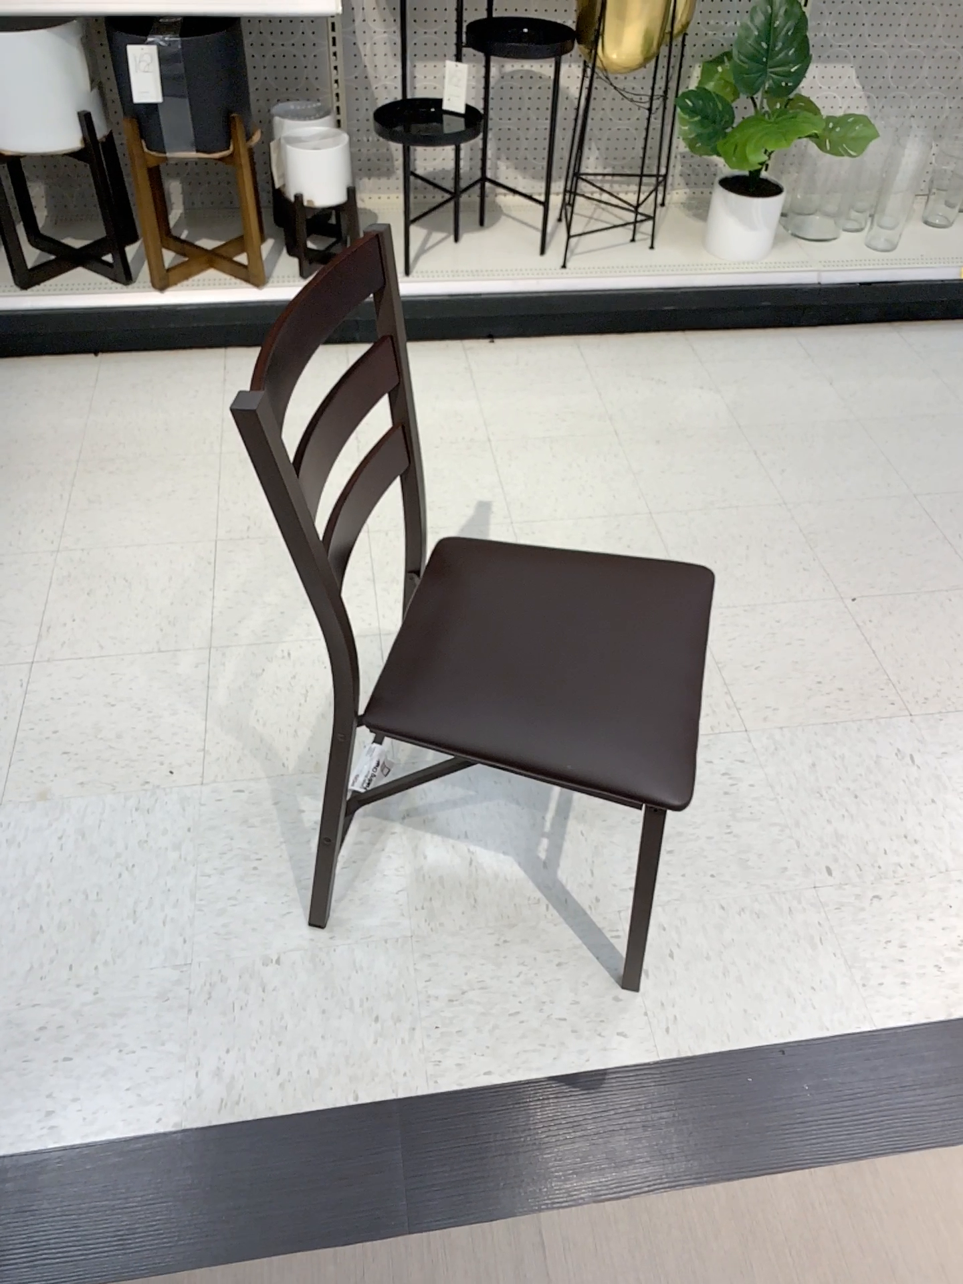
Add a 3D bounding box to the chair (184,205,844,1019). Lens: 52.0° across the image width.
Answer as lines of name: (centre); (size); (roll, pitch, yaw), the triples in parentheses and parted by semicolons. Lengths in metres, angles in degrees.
chair: (0.052, 0.005, 1.203); (0.520, 0.826, 0.442); (11, 46, 9)
